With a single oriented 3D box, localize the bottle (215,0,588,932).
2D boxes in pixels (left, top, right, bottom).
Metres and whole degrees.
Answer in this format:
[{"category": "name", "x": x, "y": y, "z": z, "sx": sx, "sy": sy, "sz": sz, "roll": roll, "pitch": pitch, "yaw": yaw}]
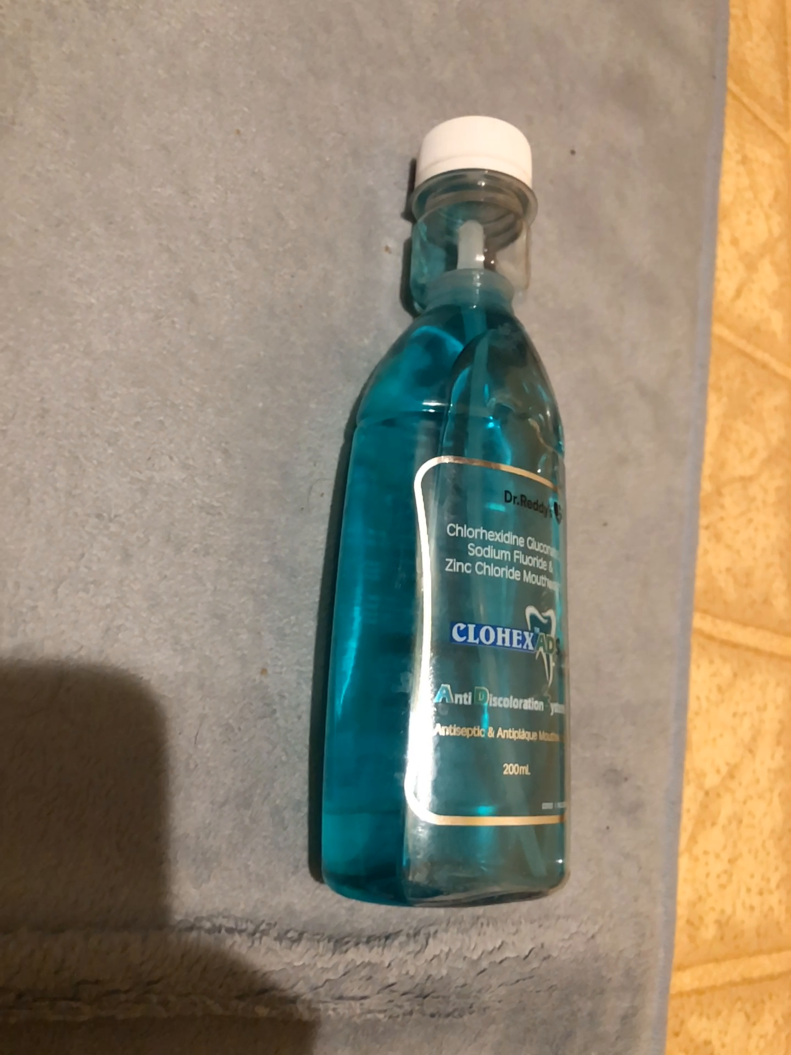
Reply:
[{"category": "bottle", "x": 0.007, "y": -0.024, "z": 0.212, "sx": 0.070, "sy": 0.040, "sz": 0.210, "roll": 12, "pitch": 75, "yaw": -37}]
